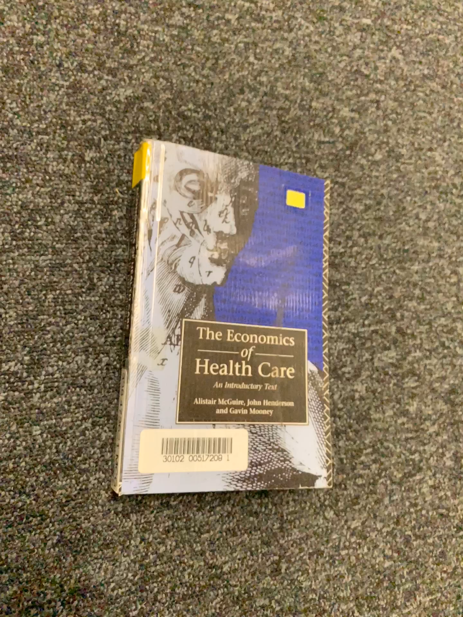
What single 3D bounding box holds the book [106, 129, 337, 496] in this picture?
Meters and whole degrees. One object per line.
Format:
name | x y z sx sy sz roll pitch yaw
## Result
book | 0.000 0.005 0.306 0.136 0.030 0.207 6 80 -22
